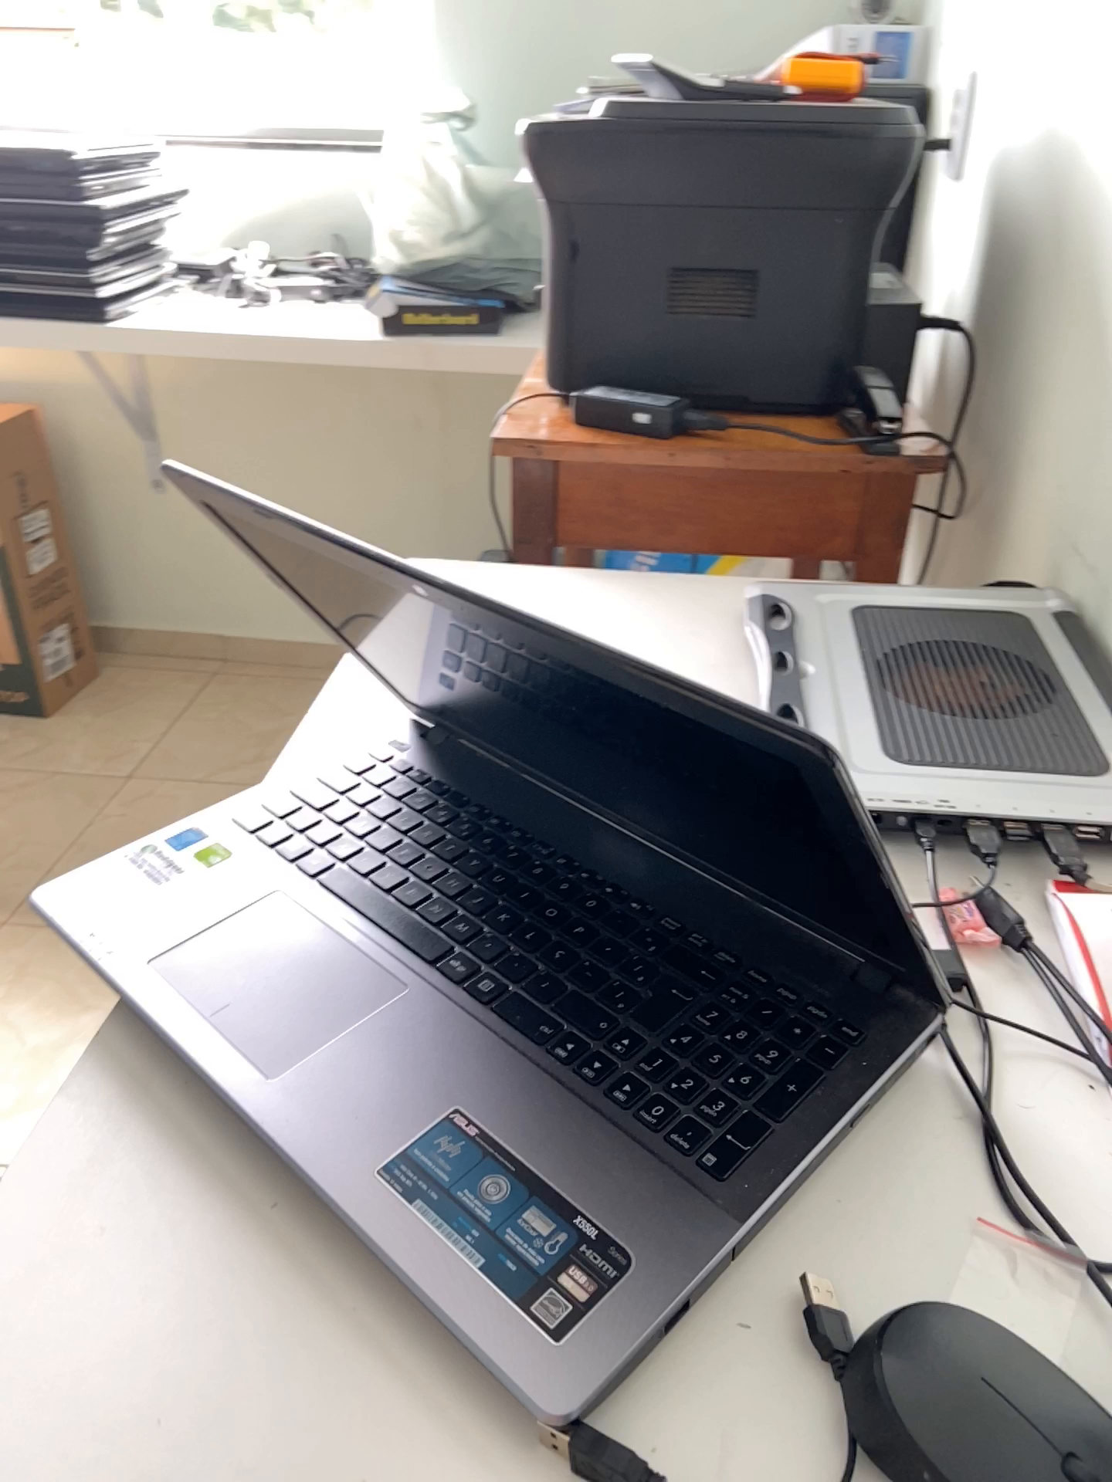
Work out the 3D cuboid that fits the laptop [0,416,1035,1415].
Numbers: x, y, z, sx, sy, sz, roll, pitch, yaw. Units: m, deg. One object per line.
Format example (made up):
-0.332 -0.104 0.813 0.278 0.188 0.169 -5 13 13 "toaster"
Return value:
-0.047 0.014 0.487 0.365 0.190 0.246 26 39 37 "laptop"
